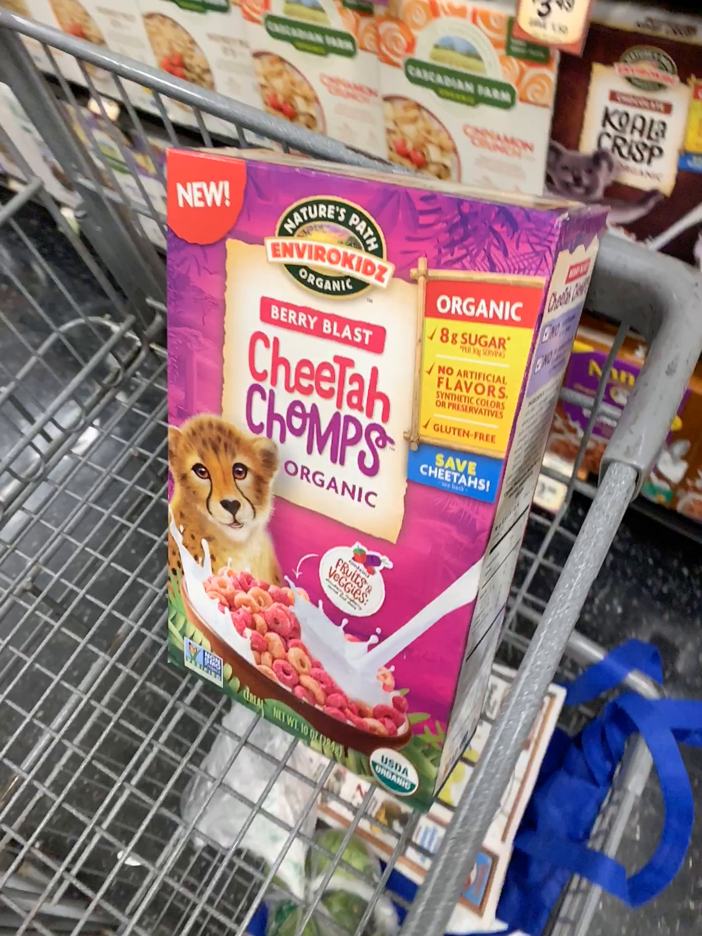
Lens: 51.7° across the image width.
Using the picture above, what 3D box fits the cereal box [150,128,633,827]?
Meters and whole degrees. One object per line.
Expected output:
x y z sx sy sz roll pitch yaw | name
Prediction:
-0.004 0.004 0.309 0.160 0.249 0.060 21 28 25 | cereal box
